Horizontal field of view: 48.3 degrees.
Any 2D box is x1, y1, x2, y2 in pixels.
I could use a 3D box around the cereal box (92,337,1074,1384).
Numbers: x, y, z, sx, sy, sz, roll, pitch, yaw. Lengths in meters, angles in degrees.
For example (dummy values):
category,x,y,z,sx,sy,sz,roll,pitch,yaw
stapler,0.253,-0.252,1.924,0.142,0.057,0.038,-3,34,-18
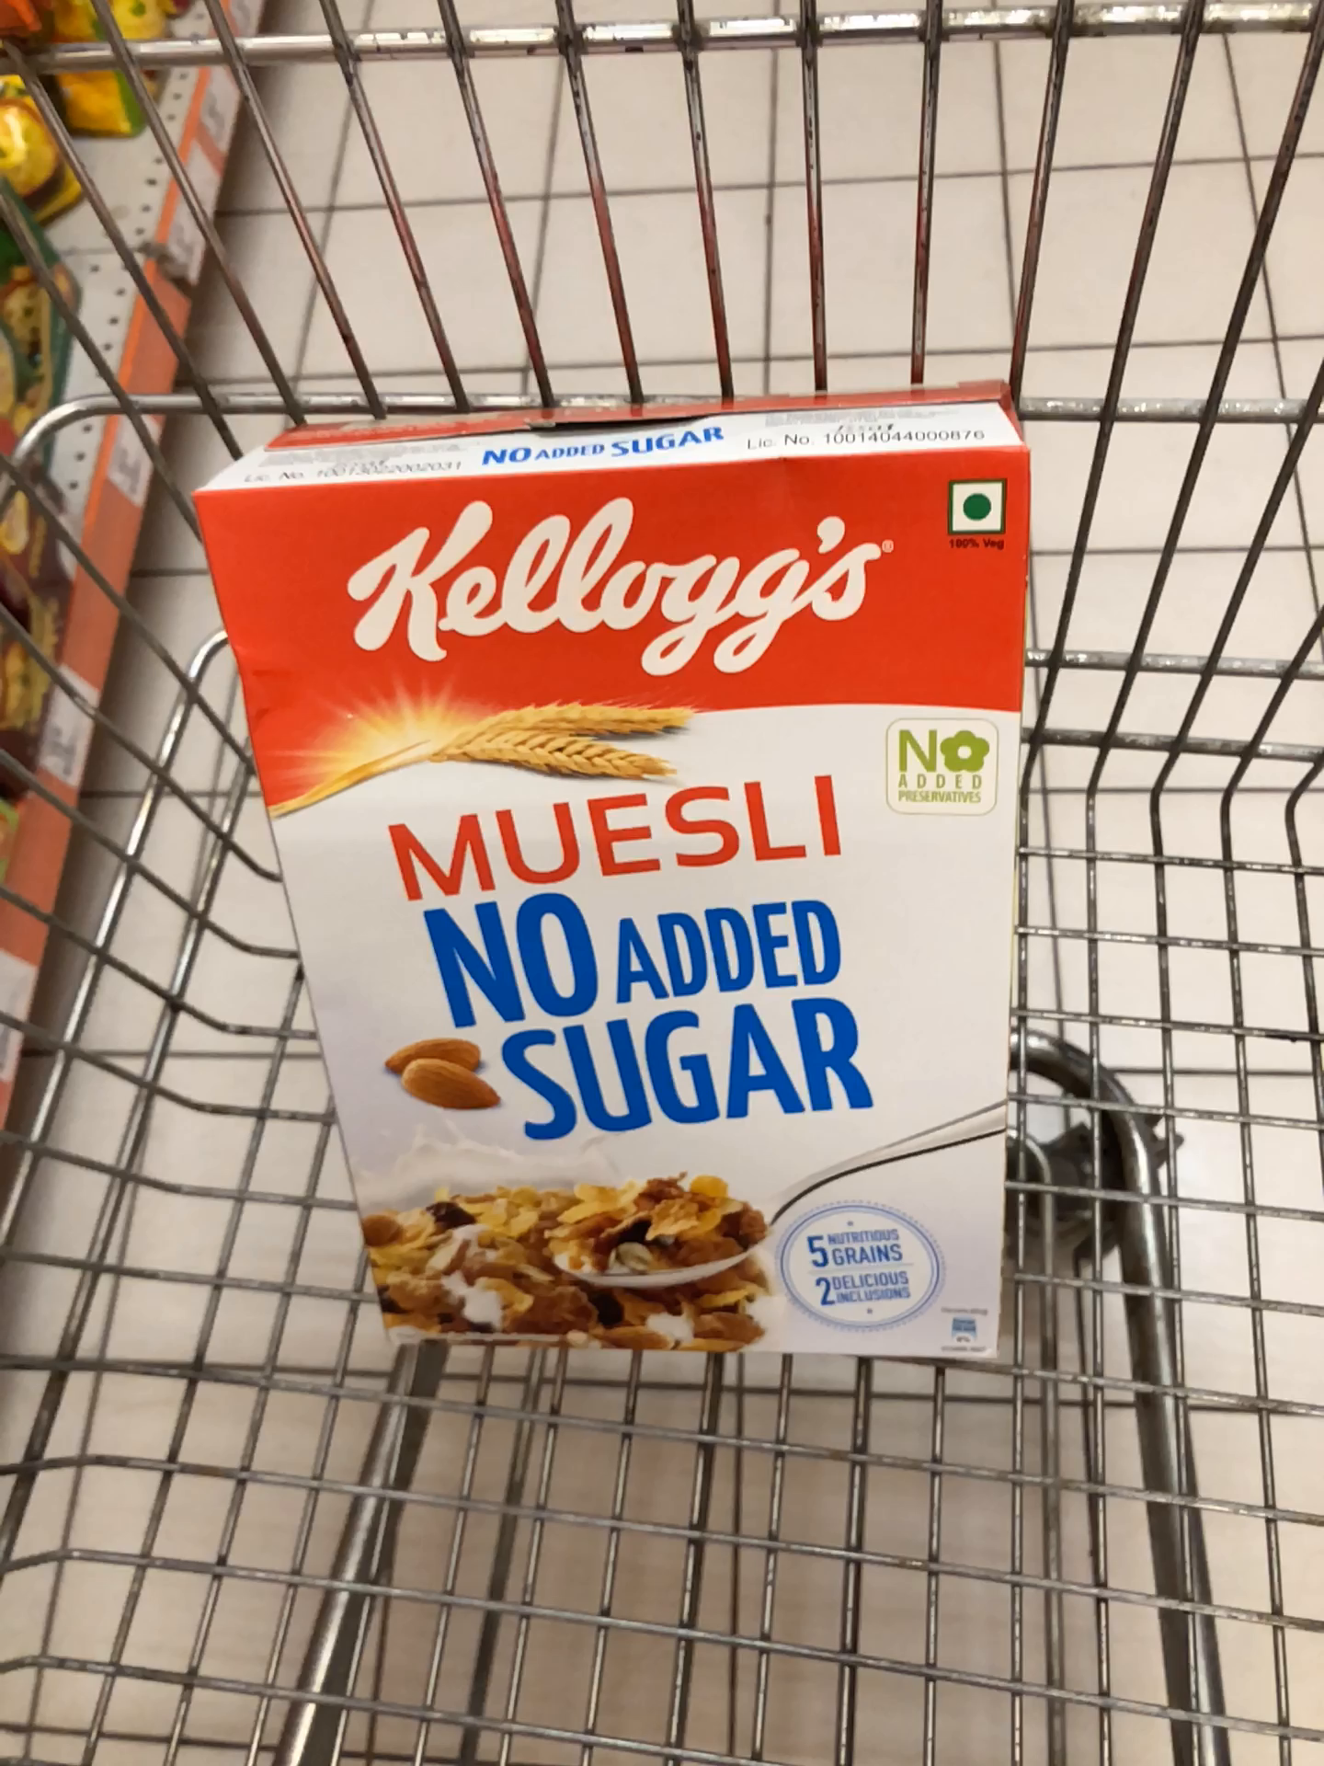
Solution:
category,x,y,z,sx,sy,sz,roll,pitch,yaw
cereal box,-0.006,0.009,0.378,0.190,0.259,0.070,-1,31,7
